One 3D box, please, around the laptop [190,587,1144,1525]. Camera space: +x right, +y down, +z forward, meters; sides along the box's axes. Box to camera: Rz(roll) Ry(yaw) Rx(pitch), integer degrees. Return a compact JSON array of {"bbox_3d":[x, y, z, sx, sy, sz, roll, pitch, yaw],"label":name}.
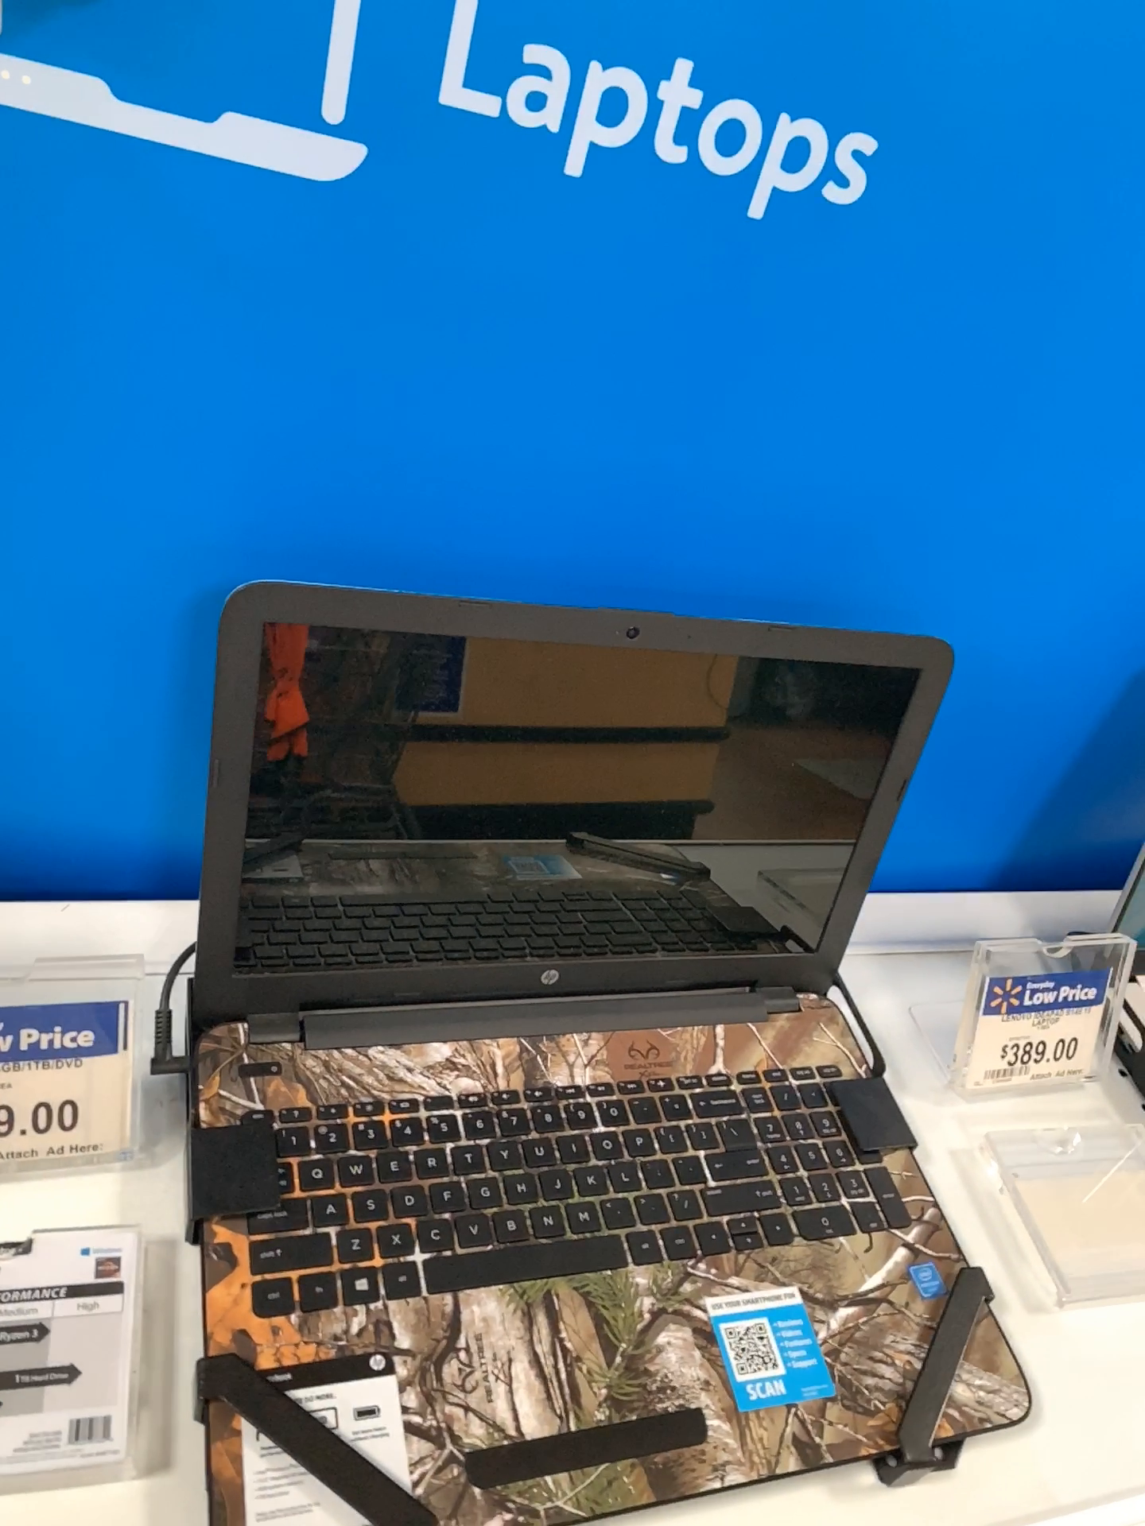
[{"bbox_3d":[0.037,0.116,0.529,0.374,0.227,0.304,2,41,-21],"label":"laptop"}]
